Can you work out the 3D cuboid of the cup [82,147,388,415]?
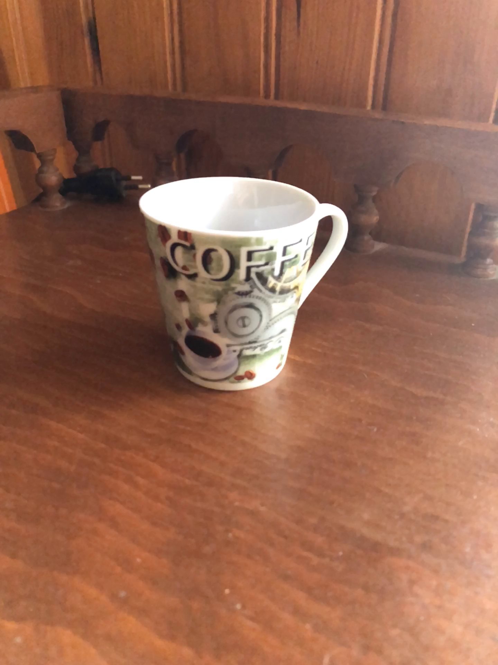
[{"bbox_3d":[-0.005,-0.025,0.194,0.080,0.060,0.060,-18,35,-29],"label":"cup"}]
